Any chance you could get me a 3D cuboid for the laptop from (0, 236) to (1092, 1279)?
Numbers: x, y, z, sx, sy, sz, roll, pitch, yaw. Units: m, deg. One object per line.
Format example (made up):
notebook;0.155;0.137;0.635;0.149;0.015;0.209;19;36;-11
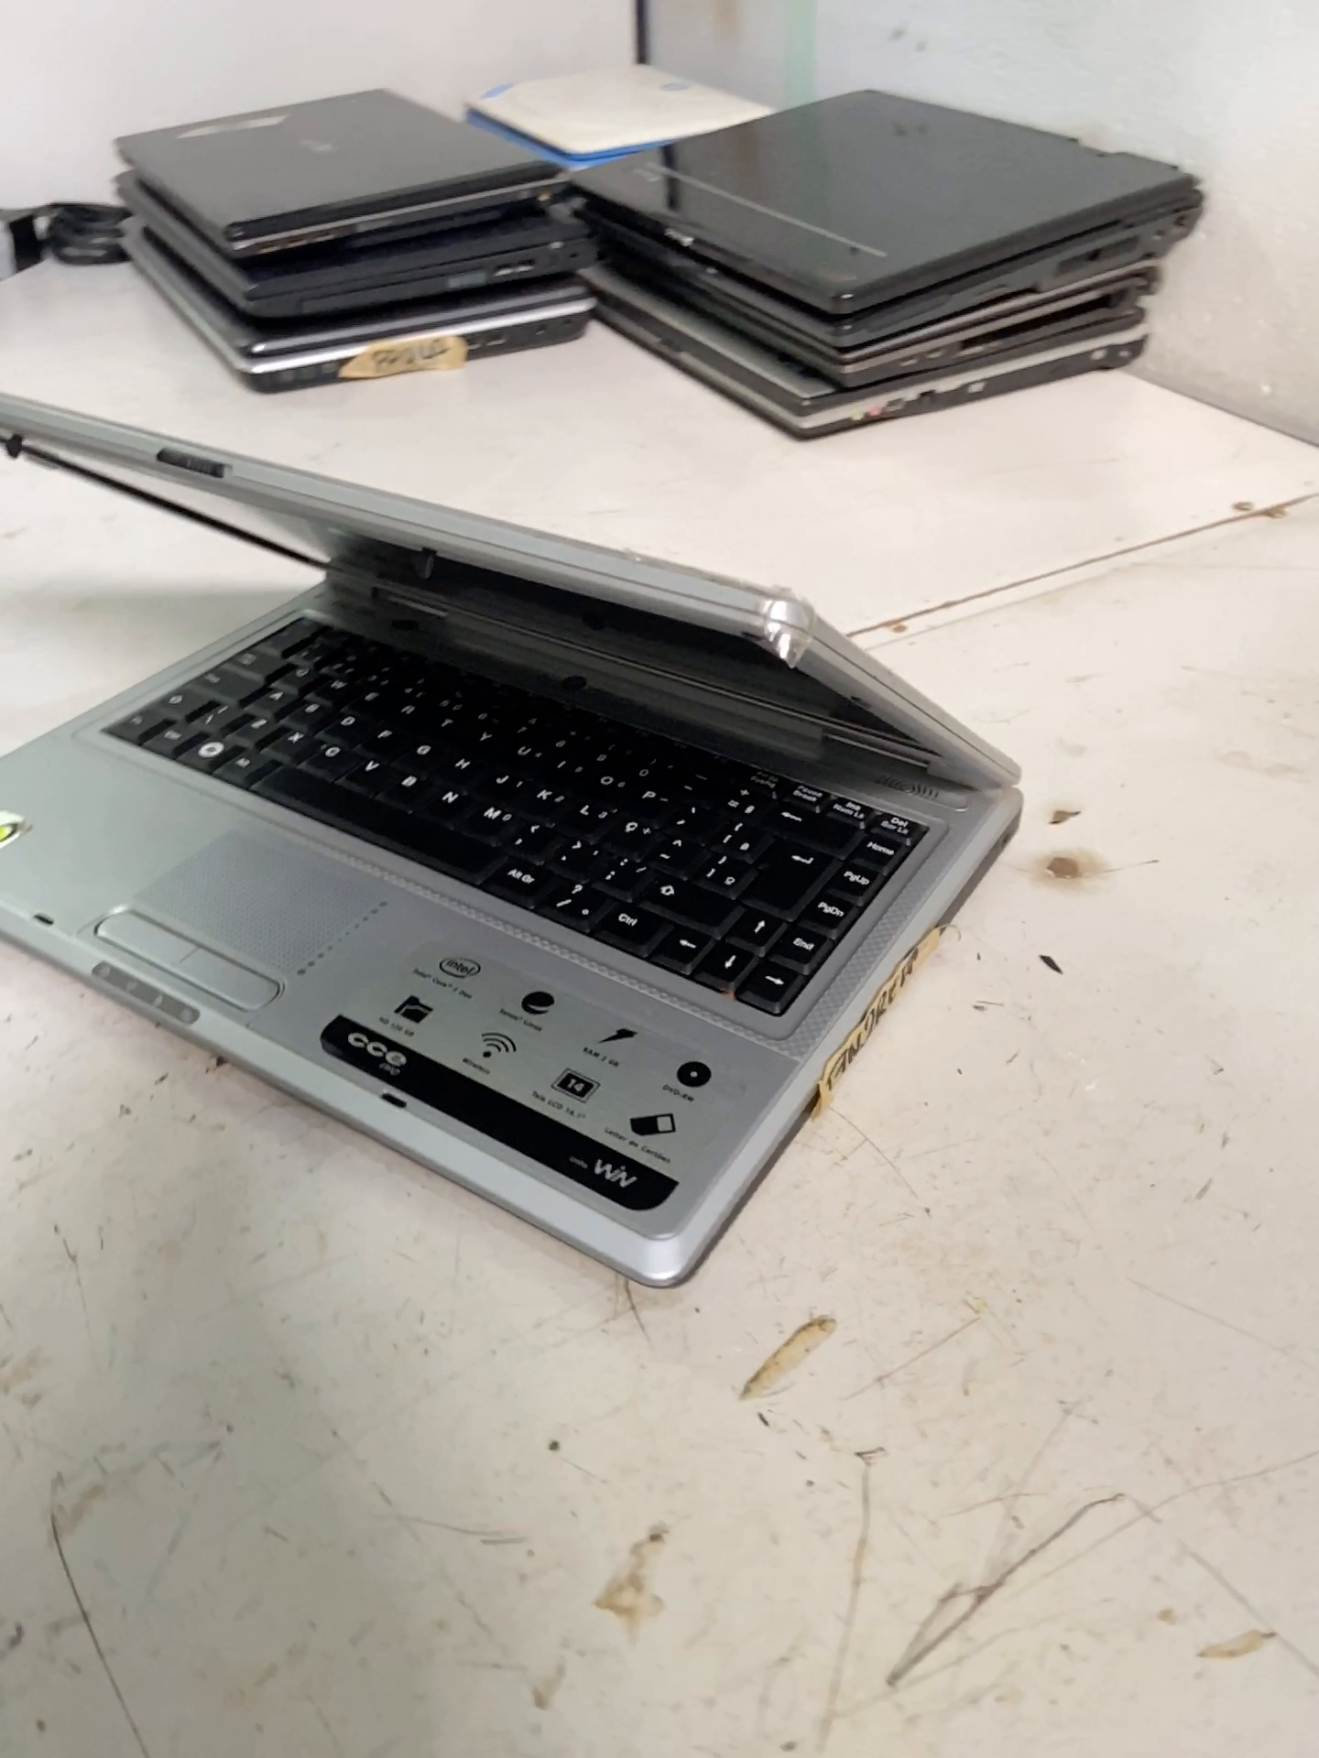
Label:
laptop;-0.078;-0.080;0.439;0.336;0.153;0.243;20;43;26
